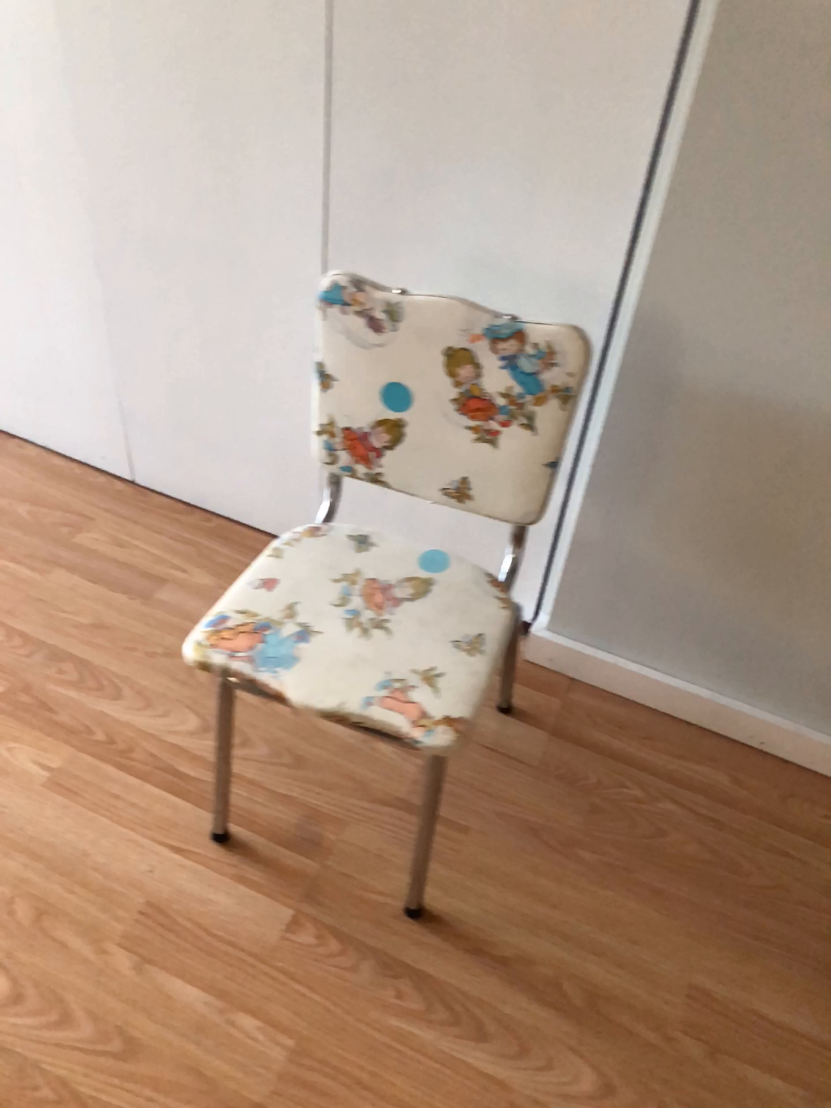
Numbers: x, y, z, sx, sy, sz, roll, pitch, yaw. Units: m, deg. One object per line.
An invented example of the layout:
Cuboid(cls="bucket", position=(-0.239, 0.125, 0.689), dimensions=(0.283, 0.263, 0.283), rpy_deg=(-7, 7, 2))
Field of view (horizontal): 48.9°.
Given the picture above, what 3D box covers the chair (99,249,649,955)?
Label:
Cuboid(cls="chair", position=(-0.029, 0.055, 0.976), dimensions=(0.350, 0.558, 0.391), rpy_deg=(18, 43, 12))
